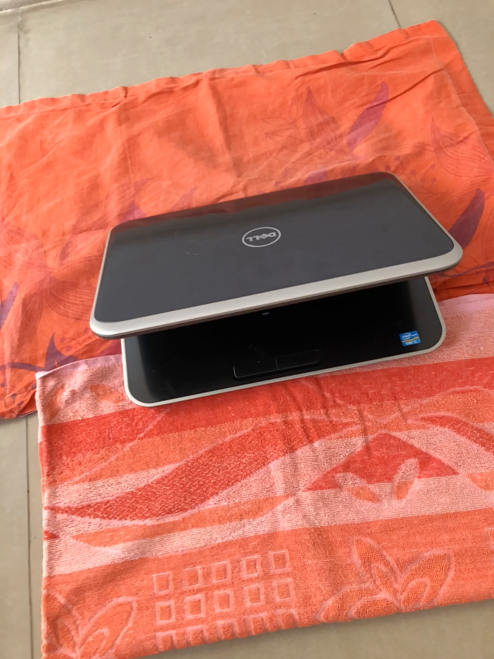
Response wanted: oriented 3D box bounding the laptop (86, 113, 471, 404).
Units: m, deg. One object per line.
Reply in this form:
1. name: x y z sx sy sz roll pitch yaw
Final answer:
1. laptop: 0.018 -0.077 0.603 0.345 0.129 0.242 -10 65 0
